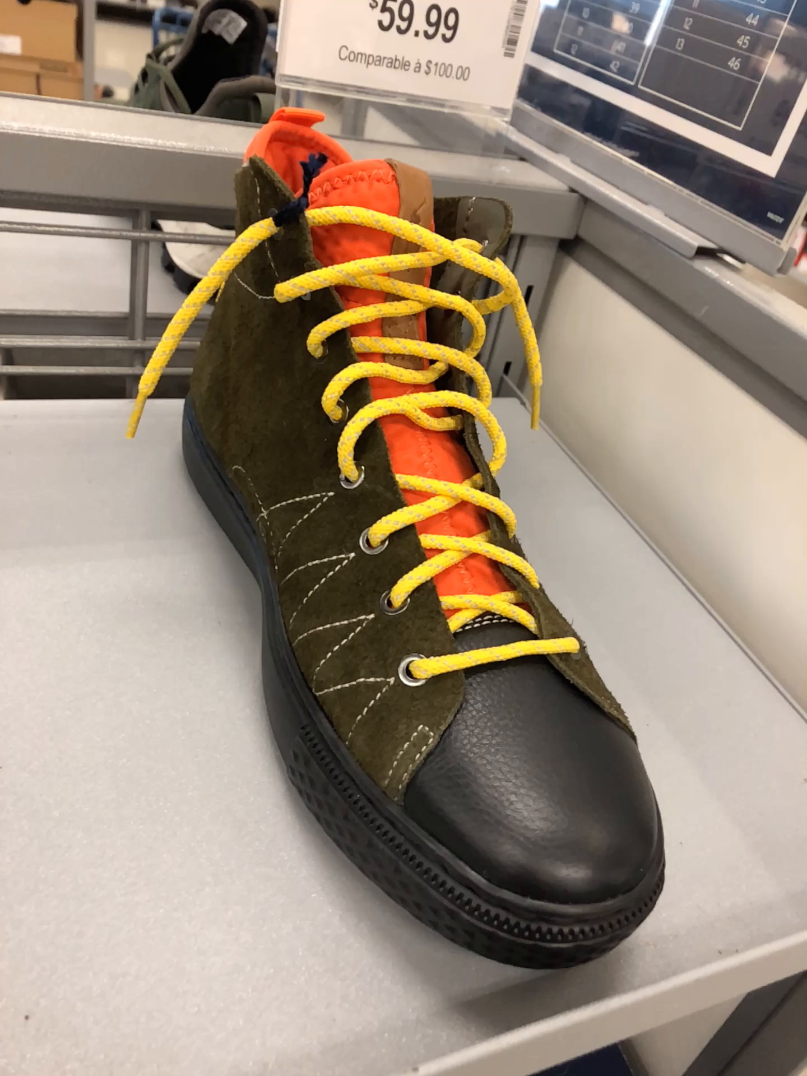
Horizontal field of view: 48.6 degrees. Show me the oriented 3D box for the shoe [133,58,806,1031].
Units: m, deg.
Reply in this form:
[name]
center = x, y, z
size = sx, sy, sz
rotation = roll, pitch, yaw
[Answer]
[shoe]
center = 0.002, -0.035, 0.317
size = 0.125, 0.171, 0.299
rotation = -7, 39, -27
